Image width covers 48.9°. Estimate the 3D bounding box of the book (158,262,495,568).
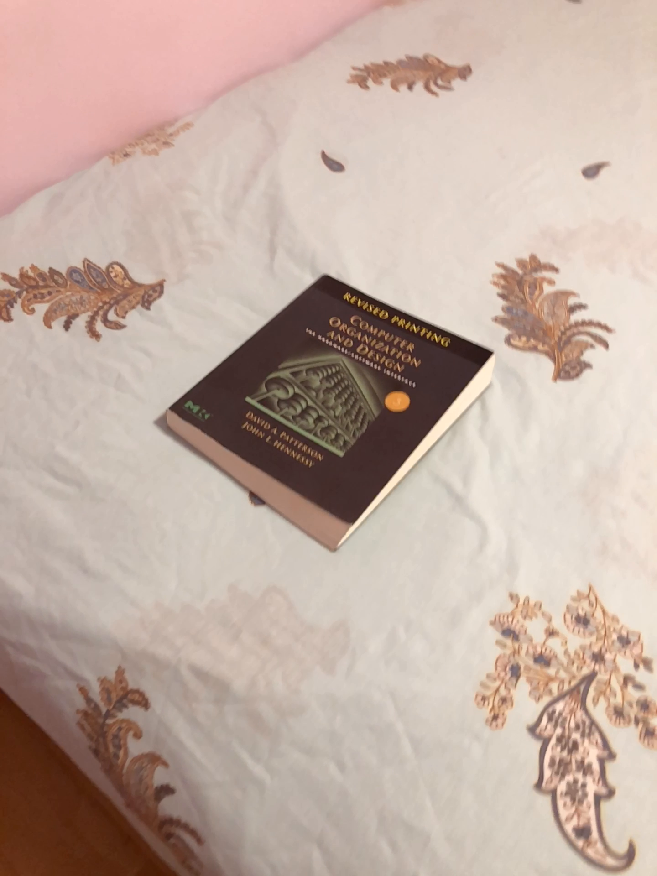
[{"bbox_3d":[0.003,-0.034,0.664,0.201,0.073,0.226,31,59,21],"label":"book"}]
